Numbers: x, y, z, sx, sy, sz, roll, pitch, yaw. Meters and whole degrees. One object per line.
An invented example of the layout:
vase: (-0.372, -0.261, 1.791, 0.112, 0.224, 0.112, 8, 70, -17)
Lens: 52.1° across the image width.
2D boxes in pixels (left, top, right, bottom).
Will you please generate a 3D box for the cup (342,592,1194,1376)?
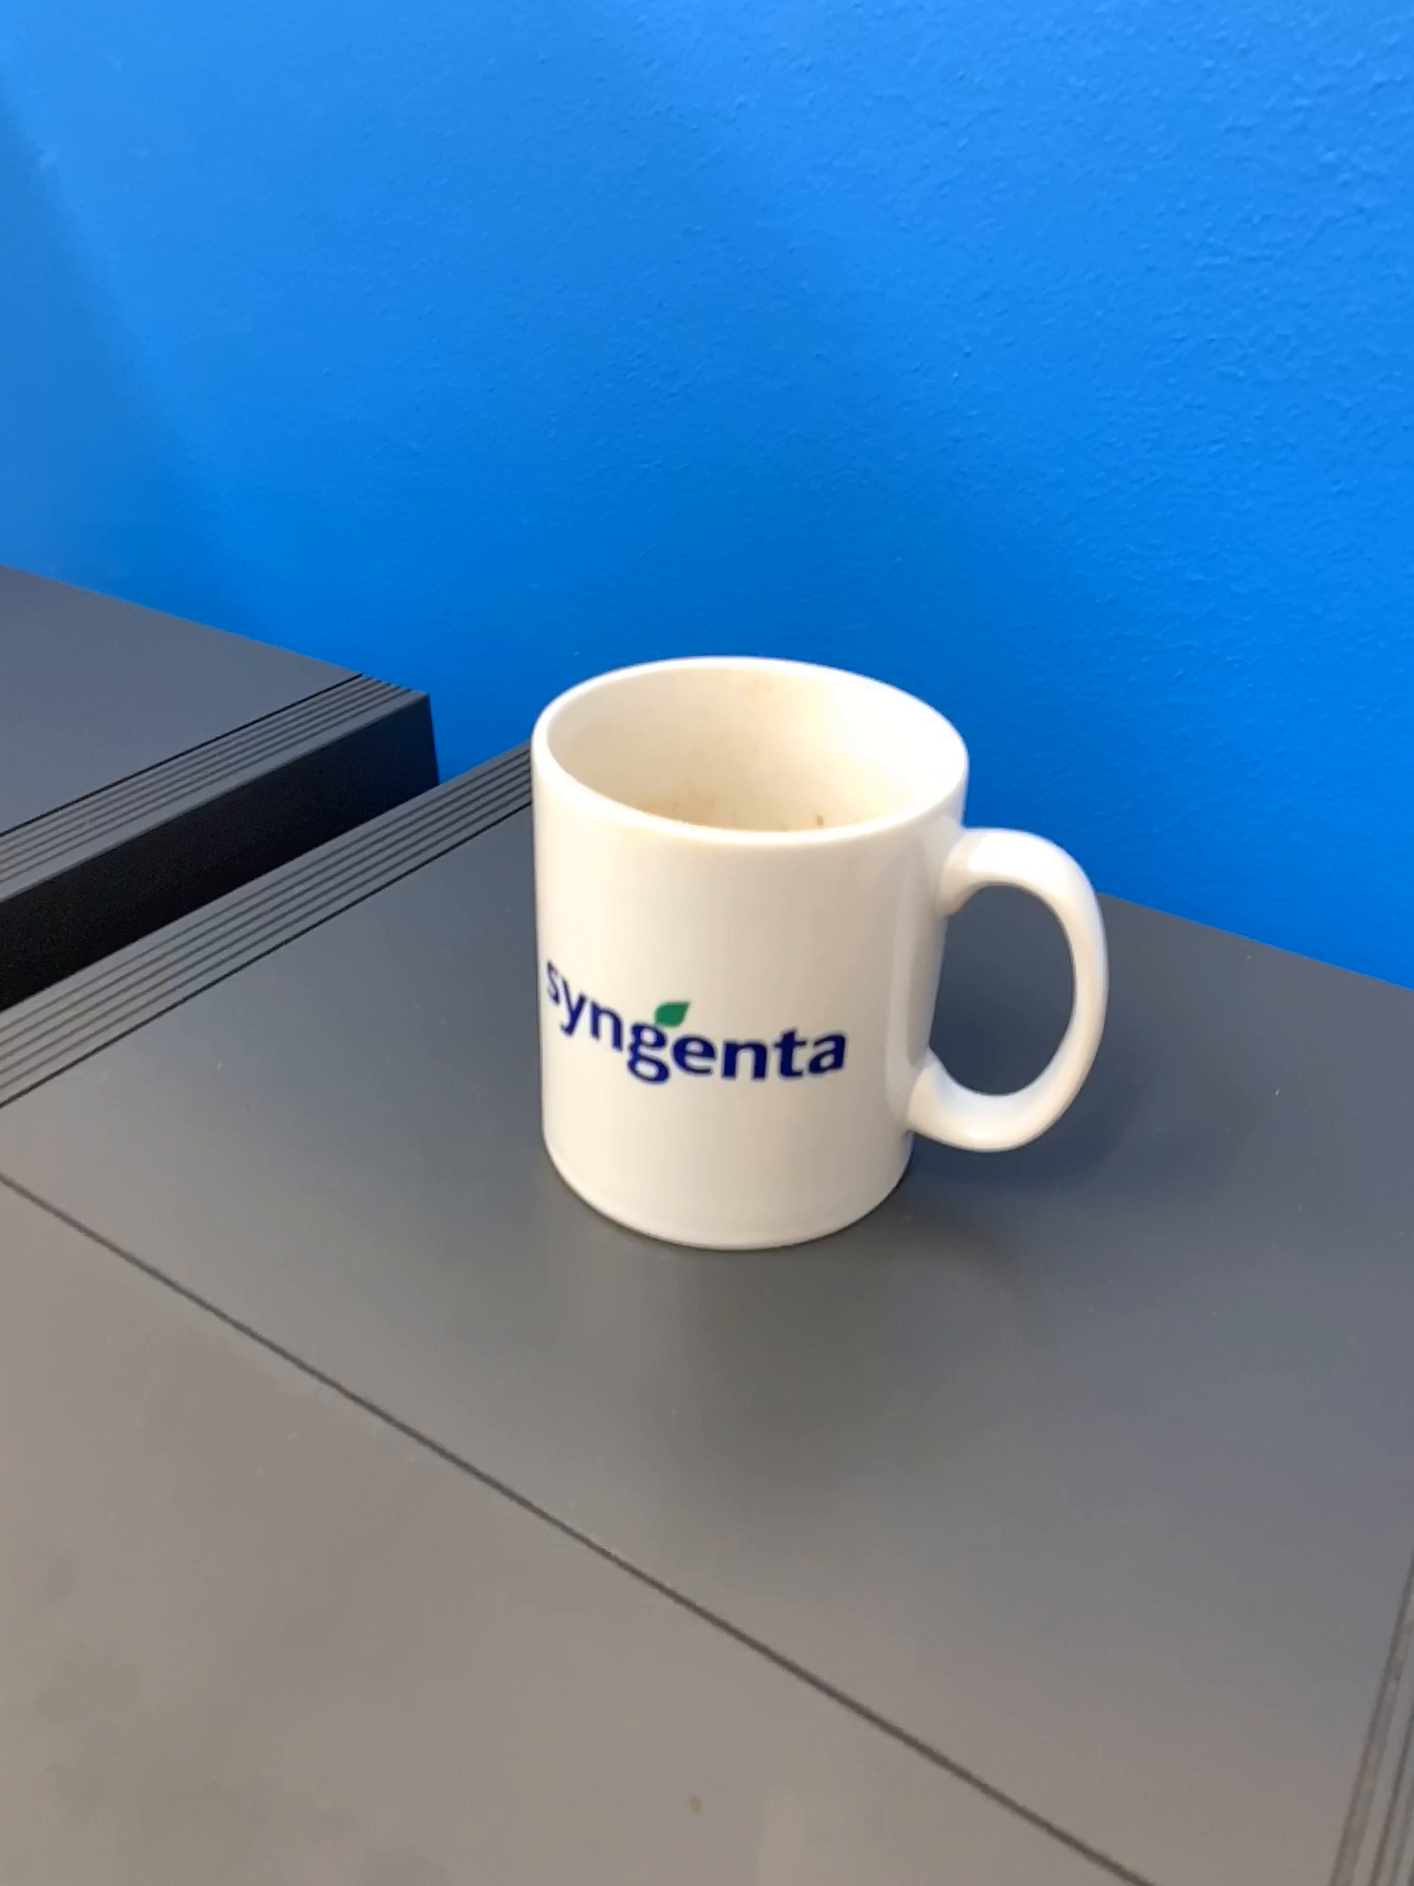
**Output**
cup: (0.014, 0.000, 0.283, 0.131, 0.094, 0.089, 13, 34, 16)
